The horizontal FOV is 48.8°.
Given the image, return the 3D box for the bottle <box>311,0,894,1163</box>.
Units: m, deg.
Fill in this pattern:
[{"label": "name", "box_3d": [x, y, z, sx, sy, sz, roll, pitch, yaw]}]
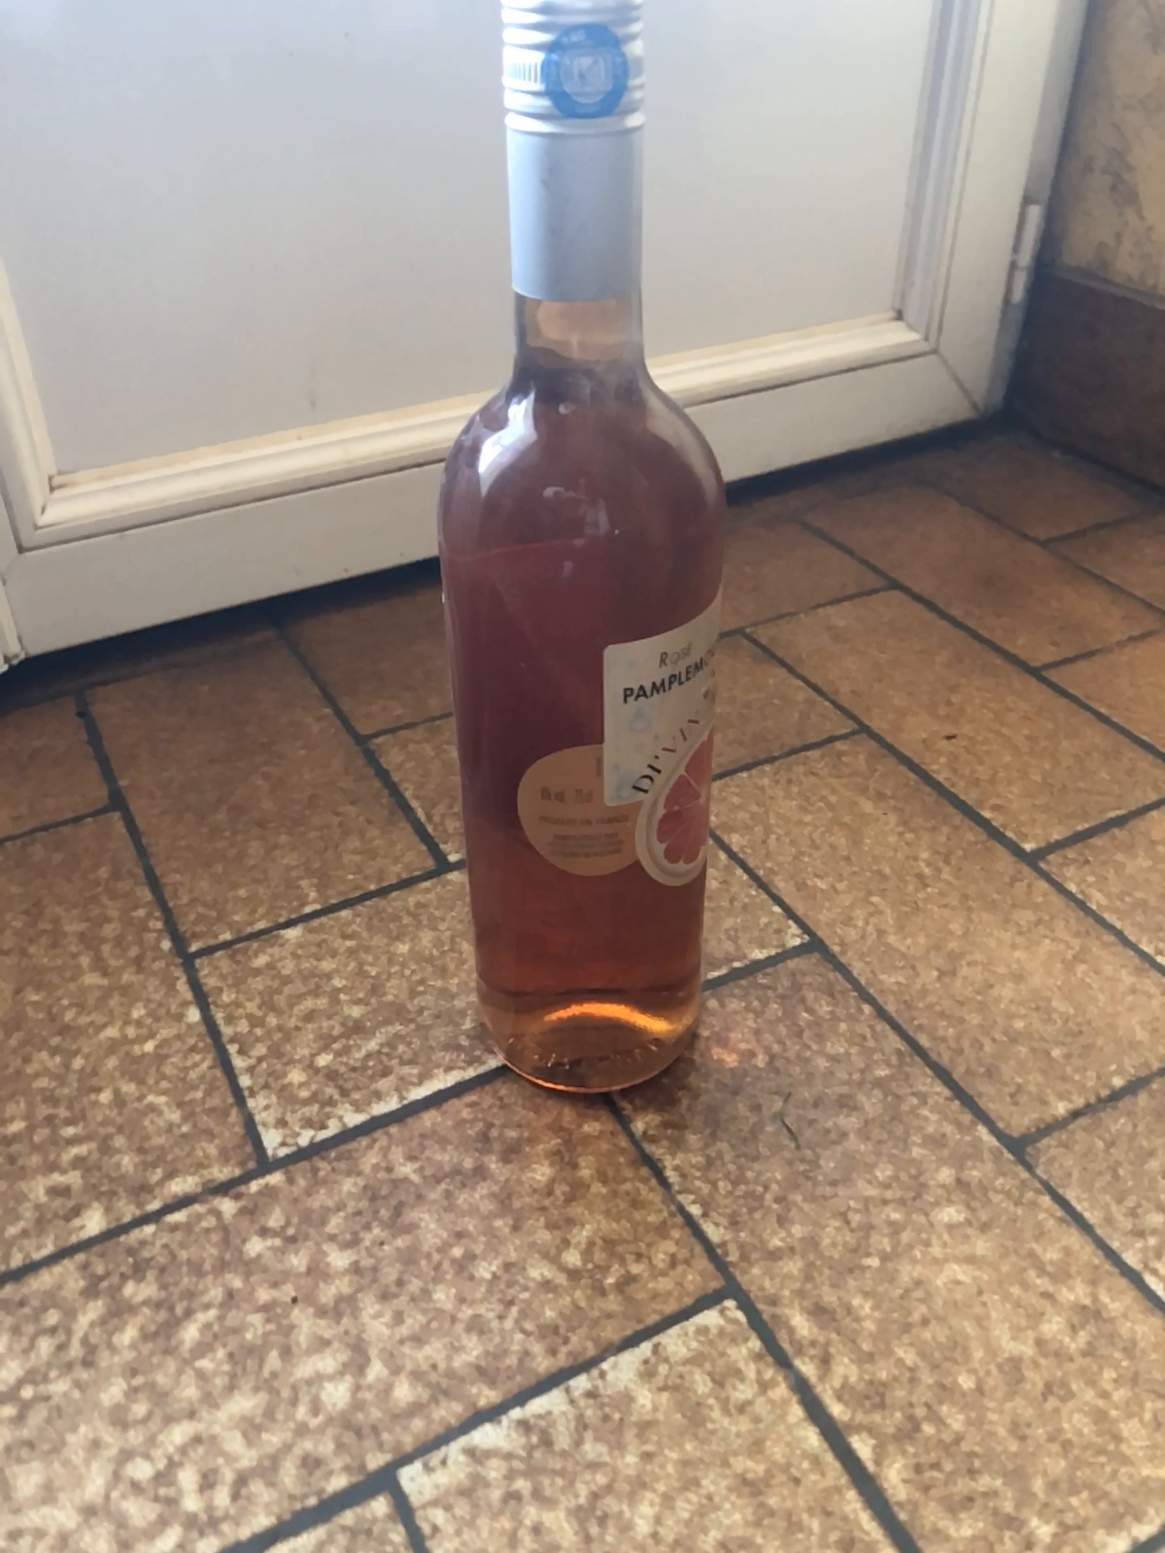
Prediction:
[{"label": "bottle", "box_3d": [0.004, -0.039, 0.333, 0.080, 0.288, 0.080, 0, 36, 0]}]
